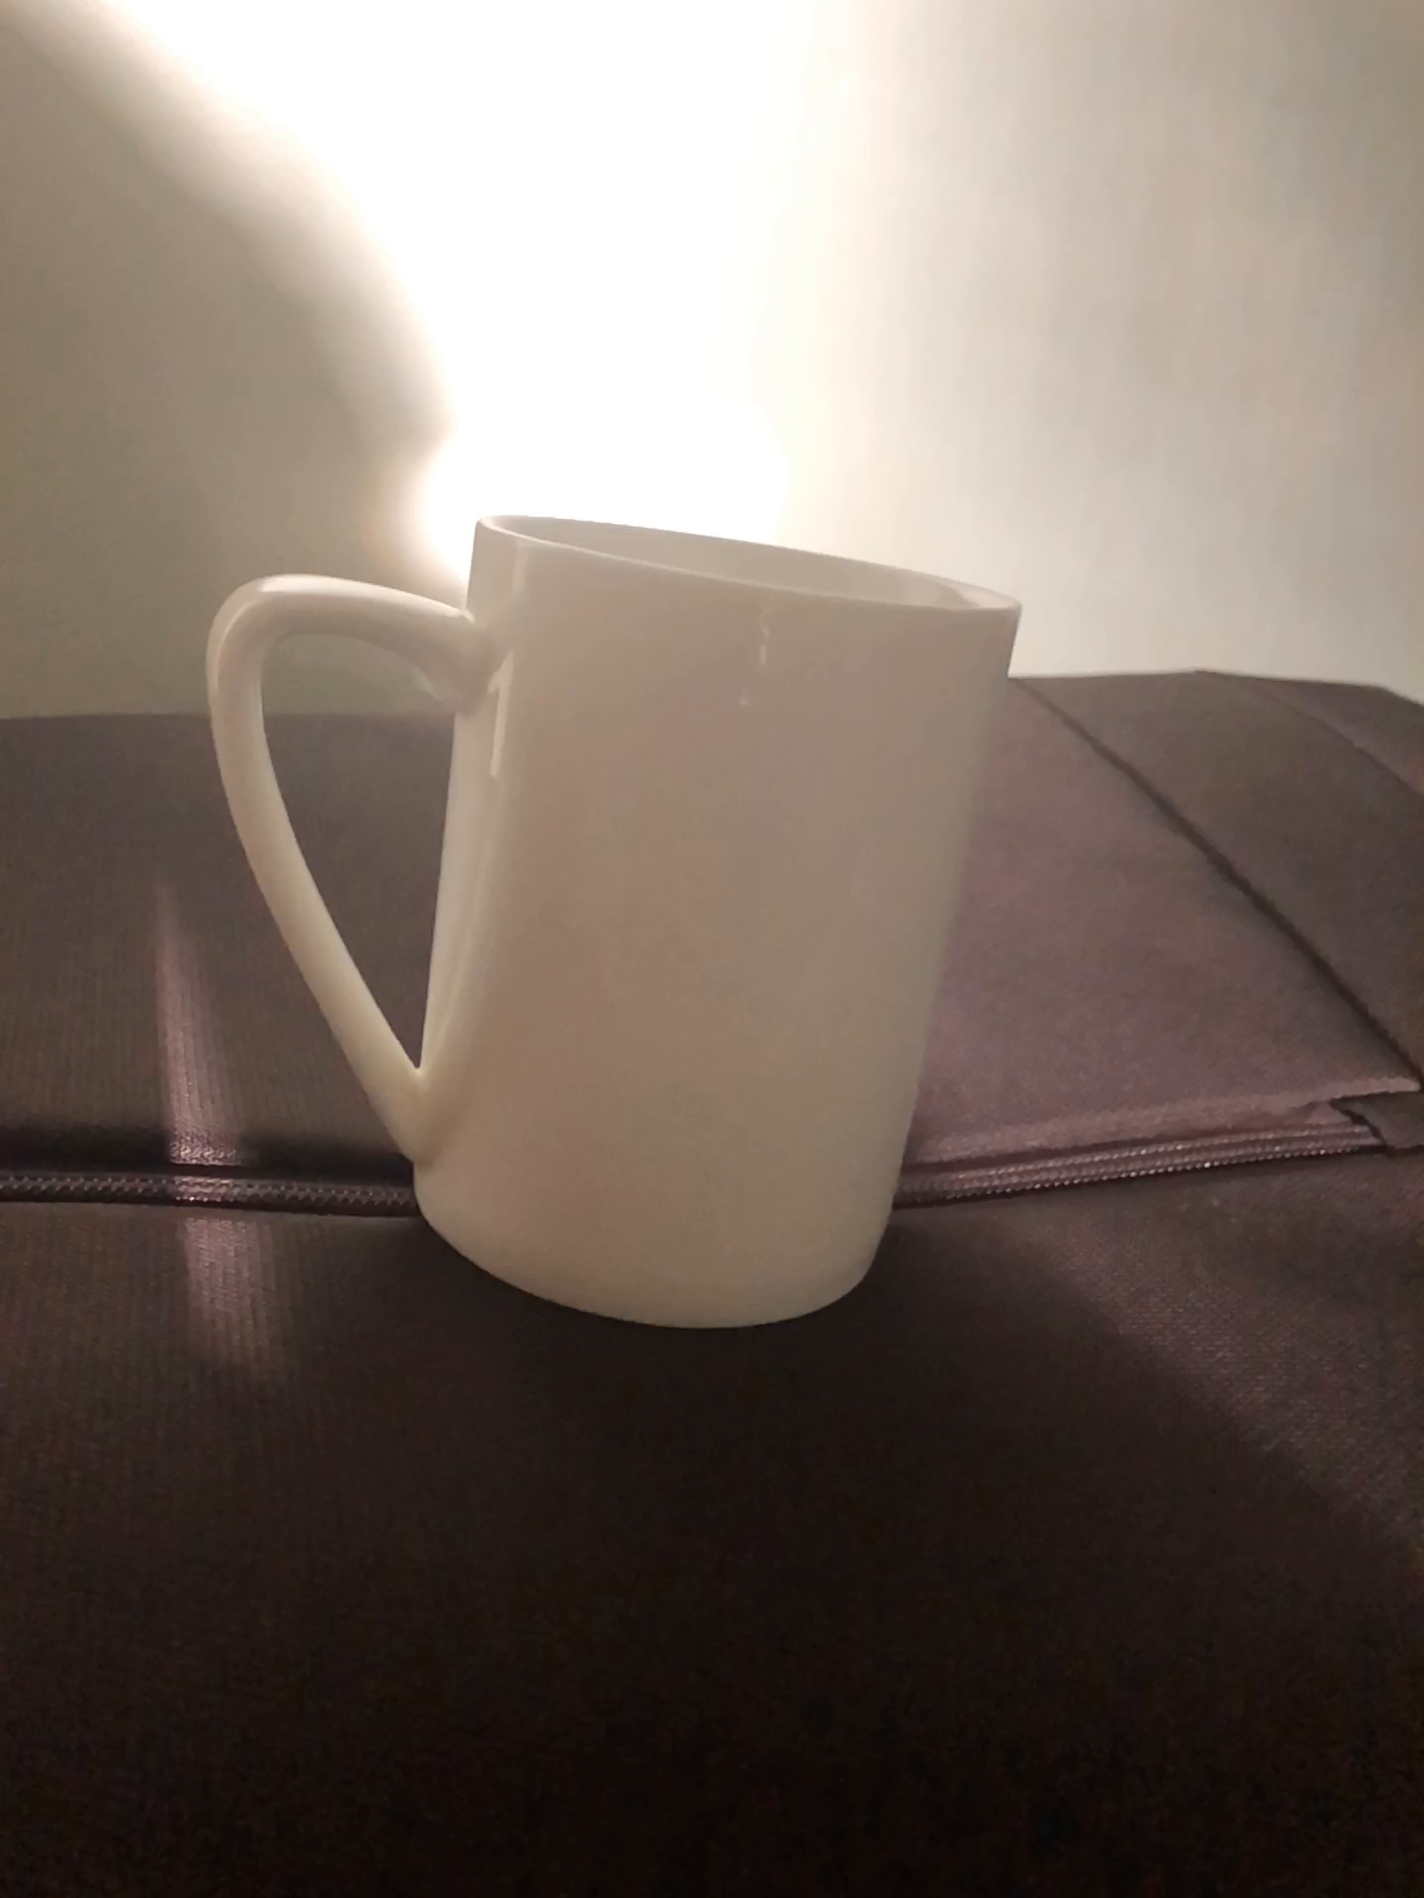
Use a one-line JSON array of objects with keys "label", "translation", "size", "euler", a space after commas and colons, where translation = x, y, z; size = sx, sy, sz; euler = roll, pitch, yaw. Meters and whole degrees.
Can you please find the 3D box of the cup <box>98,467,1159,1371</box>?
[{"label": "cup", "translation": [-0.012, -0.013, 0.225], "size": [0.108, 0.090, 0.097], "euler": [8, 16, -2]}]
